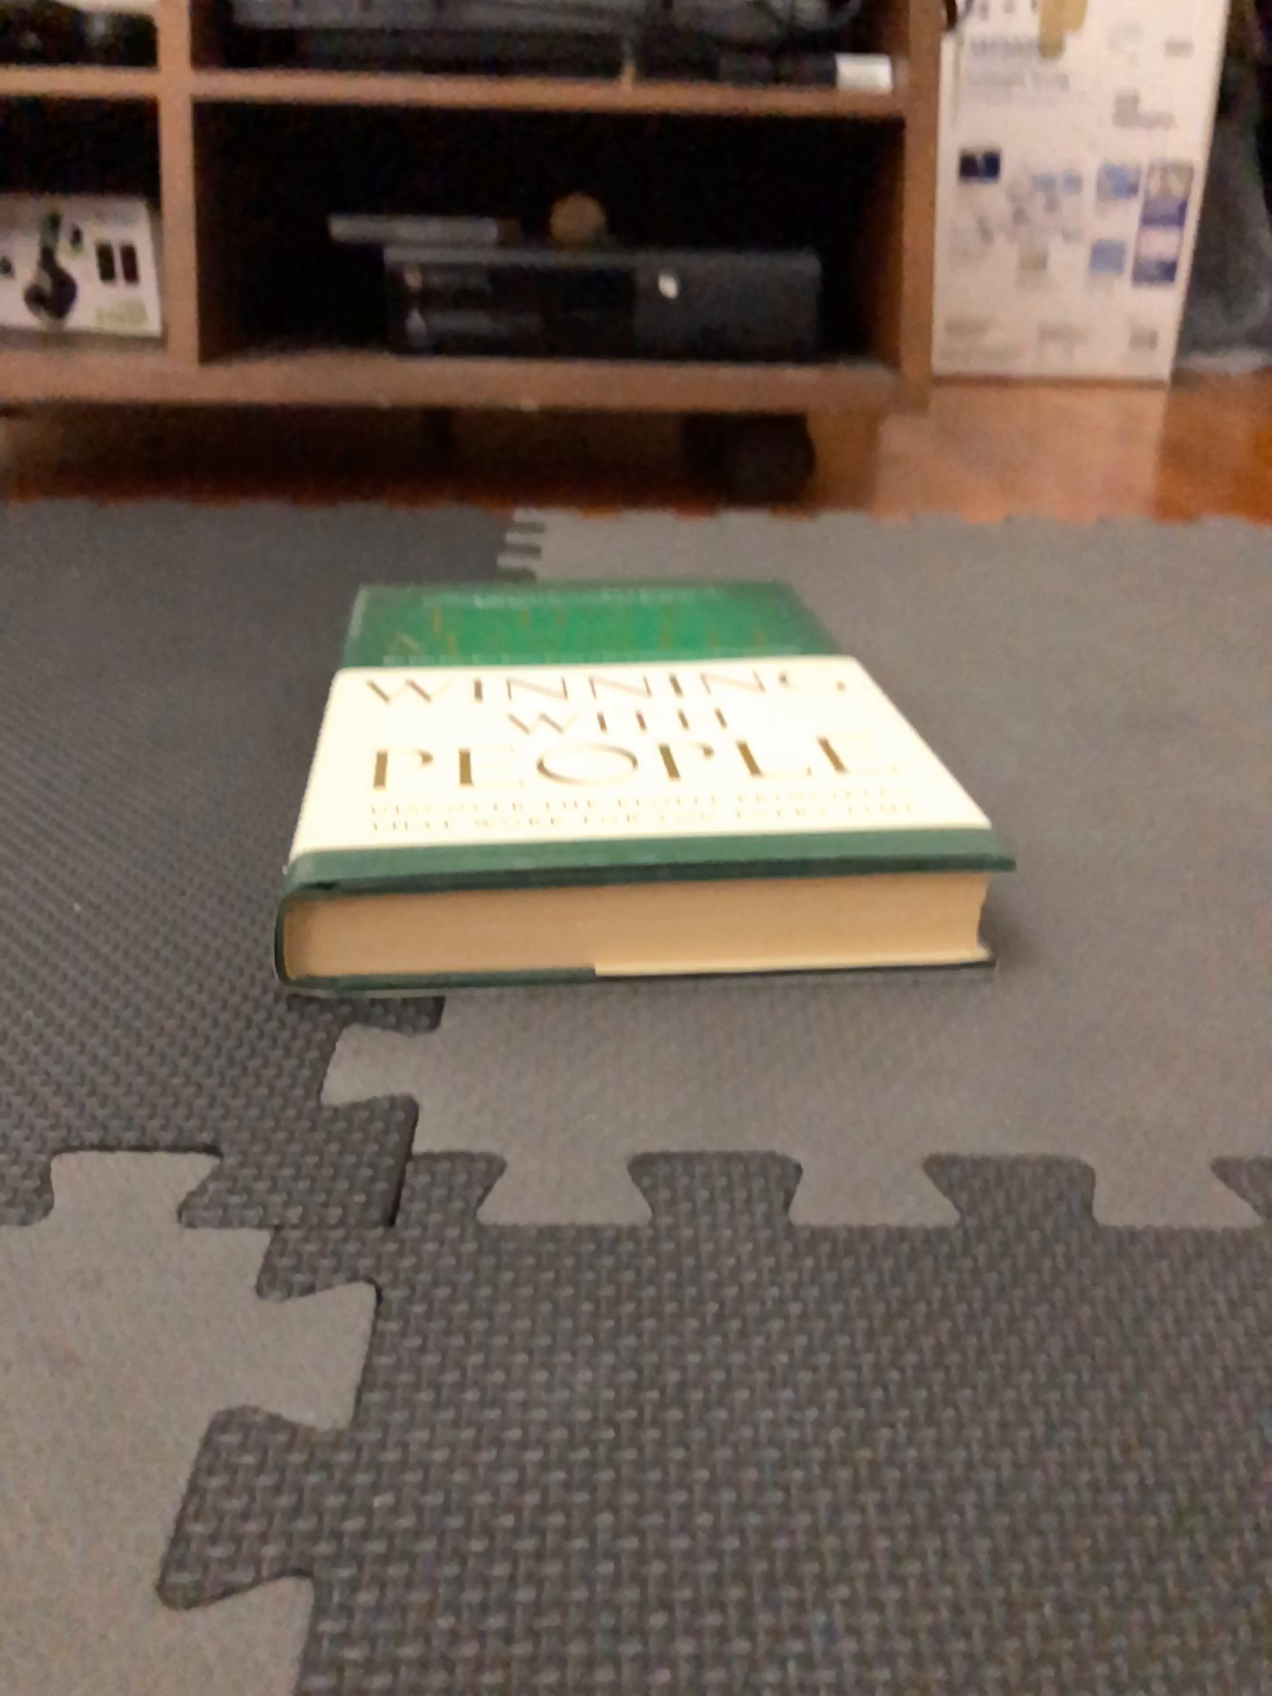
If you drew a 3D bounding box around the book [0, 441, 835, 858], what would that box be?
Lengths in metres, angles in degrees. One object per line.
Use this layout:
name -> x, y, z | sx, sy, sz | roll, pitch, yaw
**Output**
book -> -0.075, -0.073, 0.384 | 0.200, 0.030, 0.292 | -1, 24, -4
